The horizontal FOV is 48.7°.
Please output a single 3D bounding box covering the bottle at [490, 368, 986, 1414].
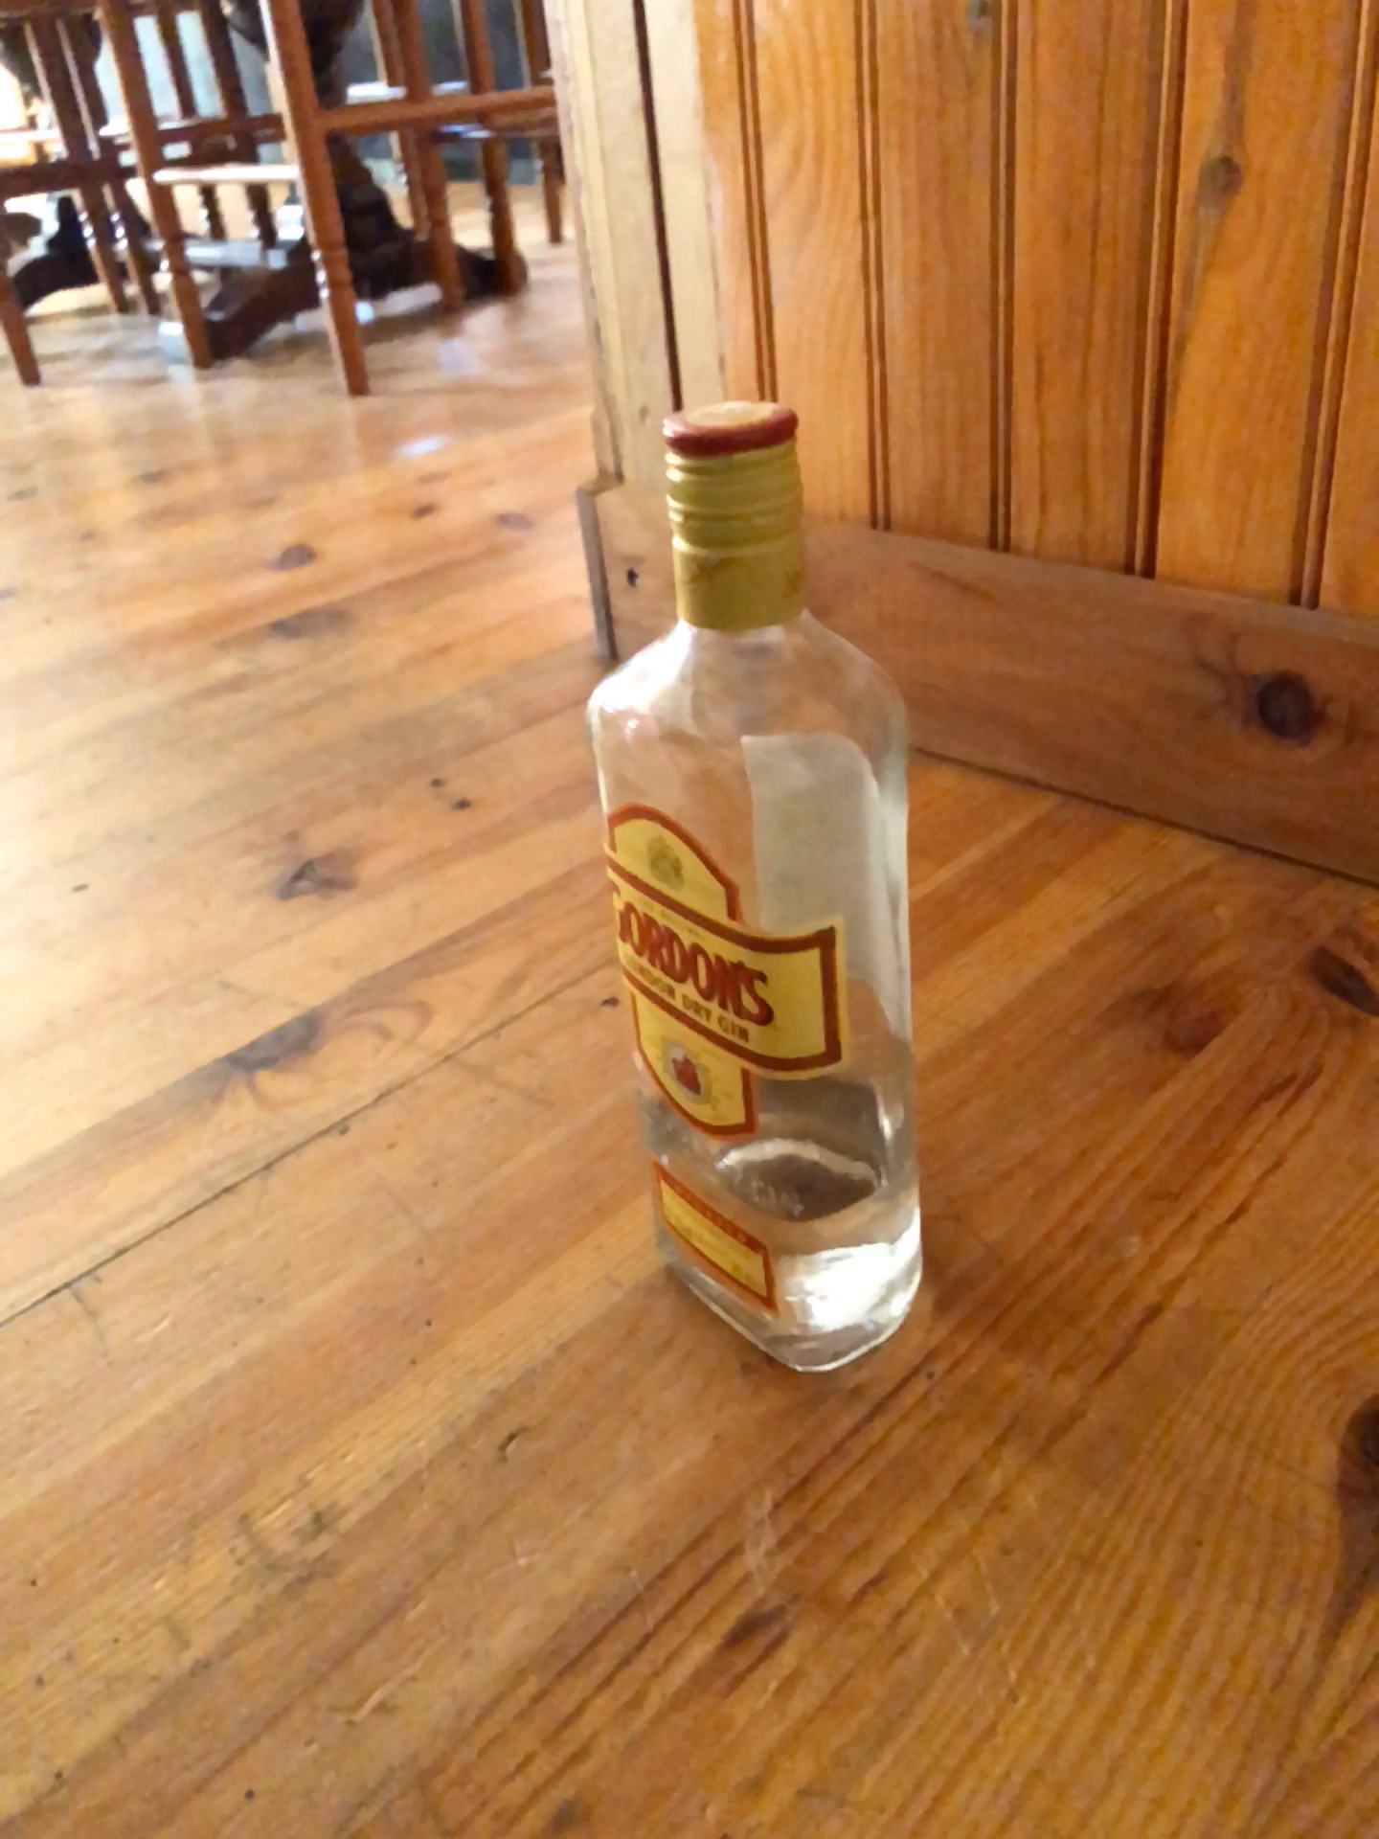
[{"bbox_3d":[0.019,-0.003,0.379,0.060,0.239,0.090,-25,35,-28],"label":"bottle"}]
